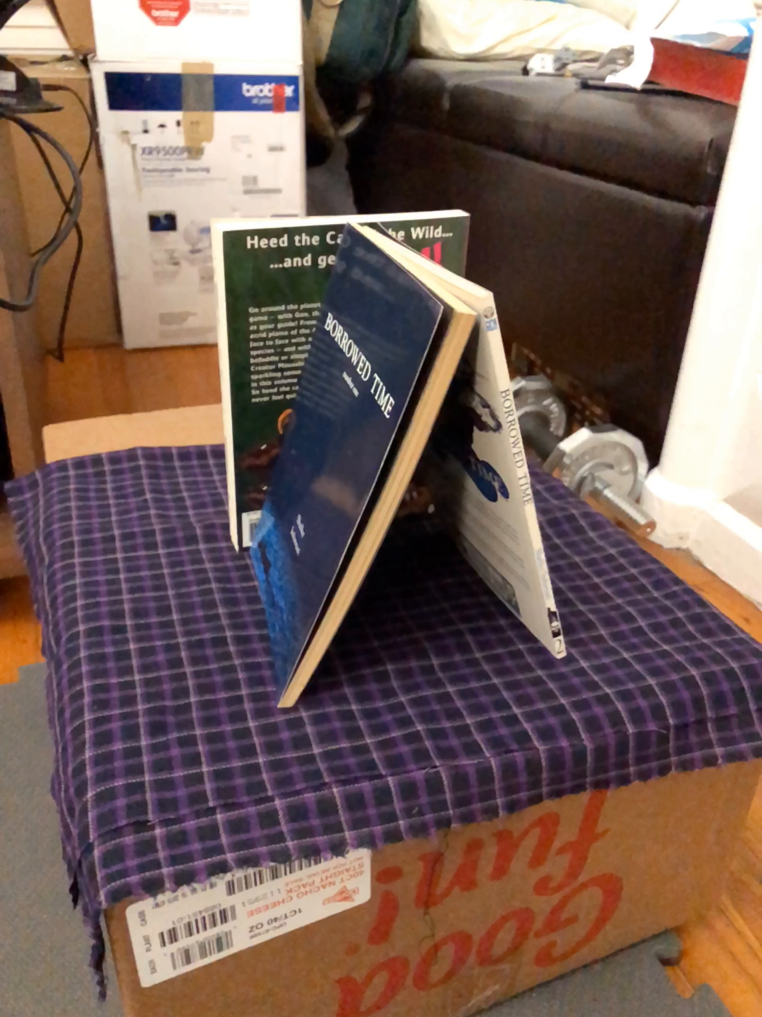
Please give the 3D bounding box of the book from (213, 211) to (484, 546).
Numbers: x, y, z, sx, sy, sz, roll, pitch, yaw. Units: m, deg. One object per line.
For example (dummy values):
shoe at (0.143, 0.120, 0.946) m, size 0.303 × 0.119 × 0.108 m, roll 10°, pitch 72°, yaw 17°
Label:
book at (-0.022, -0.070, 0.484) m, size 0.140 × 0.189 × 0.020 m, roll -9°, pitch 37°, yaw -20°

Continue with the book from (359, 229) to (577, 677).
book at (0.044, -0.029, 0.425) m, size 0.010 × 0.199 × 0.141 m, roll -24°, pitch 34°, yaw -9°

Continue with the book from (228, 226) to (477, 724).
book at (-0.028, -0.023, 0.413) m, size 0.010 × 0.199 × 0.151 m, roll 13°, pitch 24°, yaw -26°
